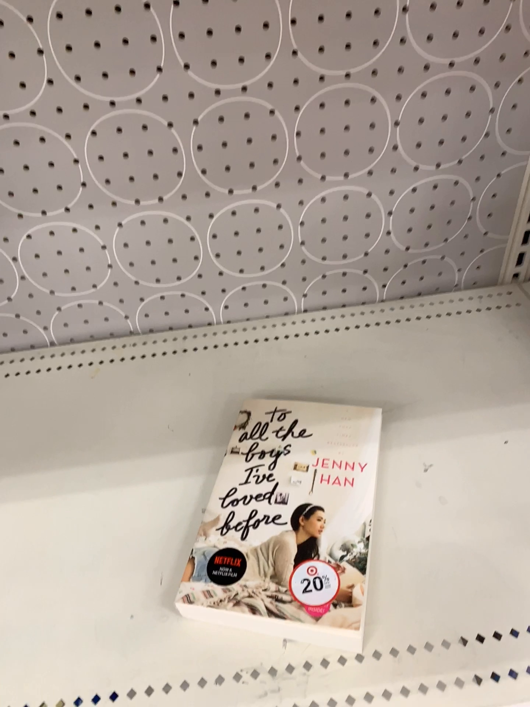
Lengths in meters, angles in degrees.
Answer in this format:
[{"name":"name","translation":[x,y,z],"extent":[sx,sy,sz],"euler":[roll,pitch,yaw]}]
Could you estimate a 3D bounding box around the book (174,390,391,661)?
[{"name":"book","translation":[0.028,0.128,0.468],"extent":[0.144,0.034,0.214],"euler":[5,44,12]}]
